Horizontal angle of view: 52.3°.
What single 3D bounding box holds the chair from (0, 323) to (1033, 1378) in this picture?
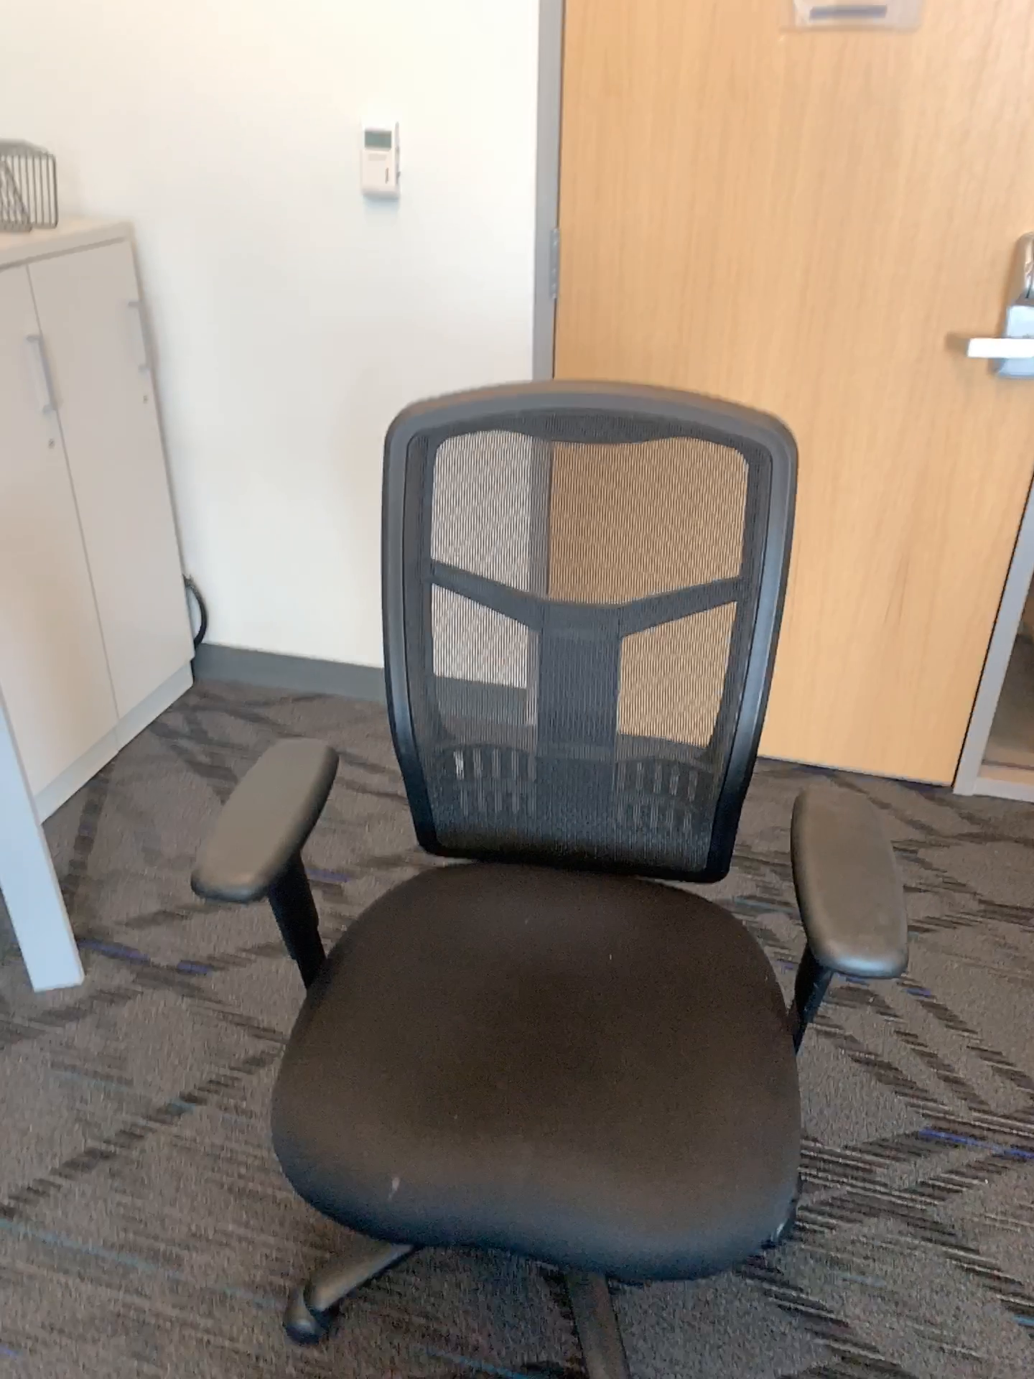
[{"bbox_3d":[0.050,0.205,1.156,0.660,0.992,0.726,8,31,12],"label":"chair"}]
